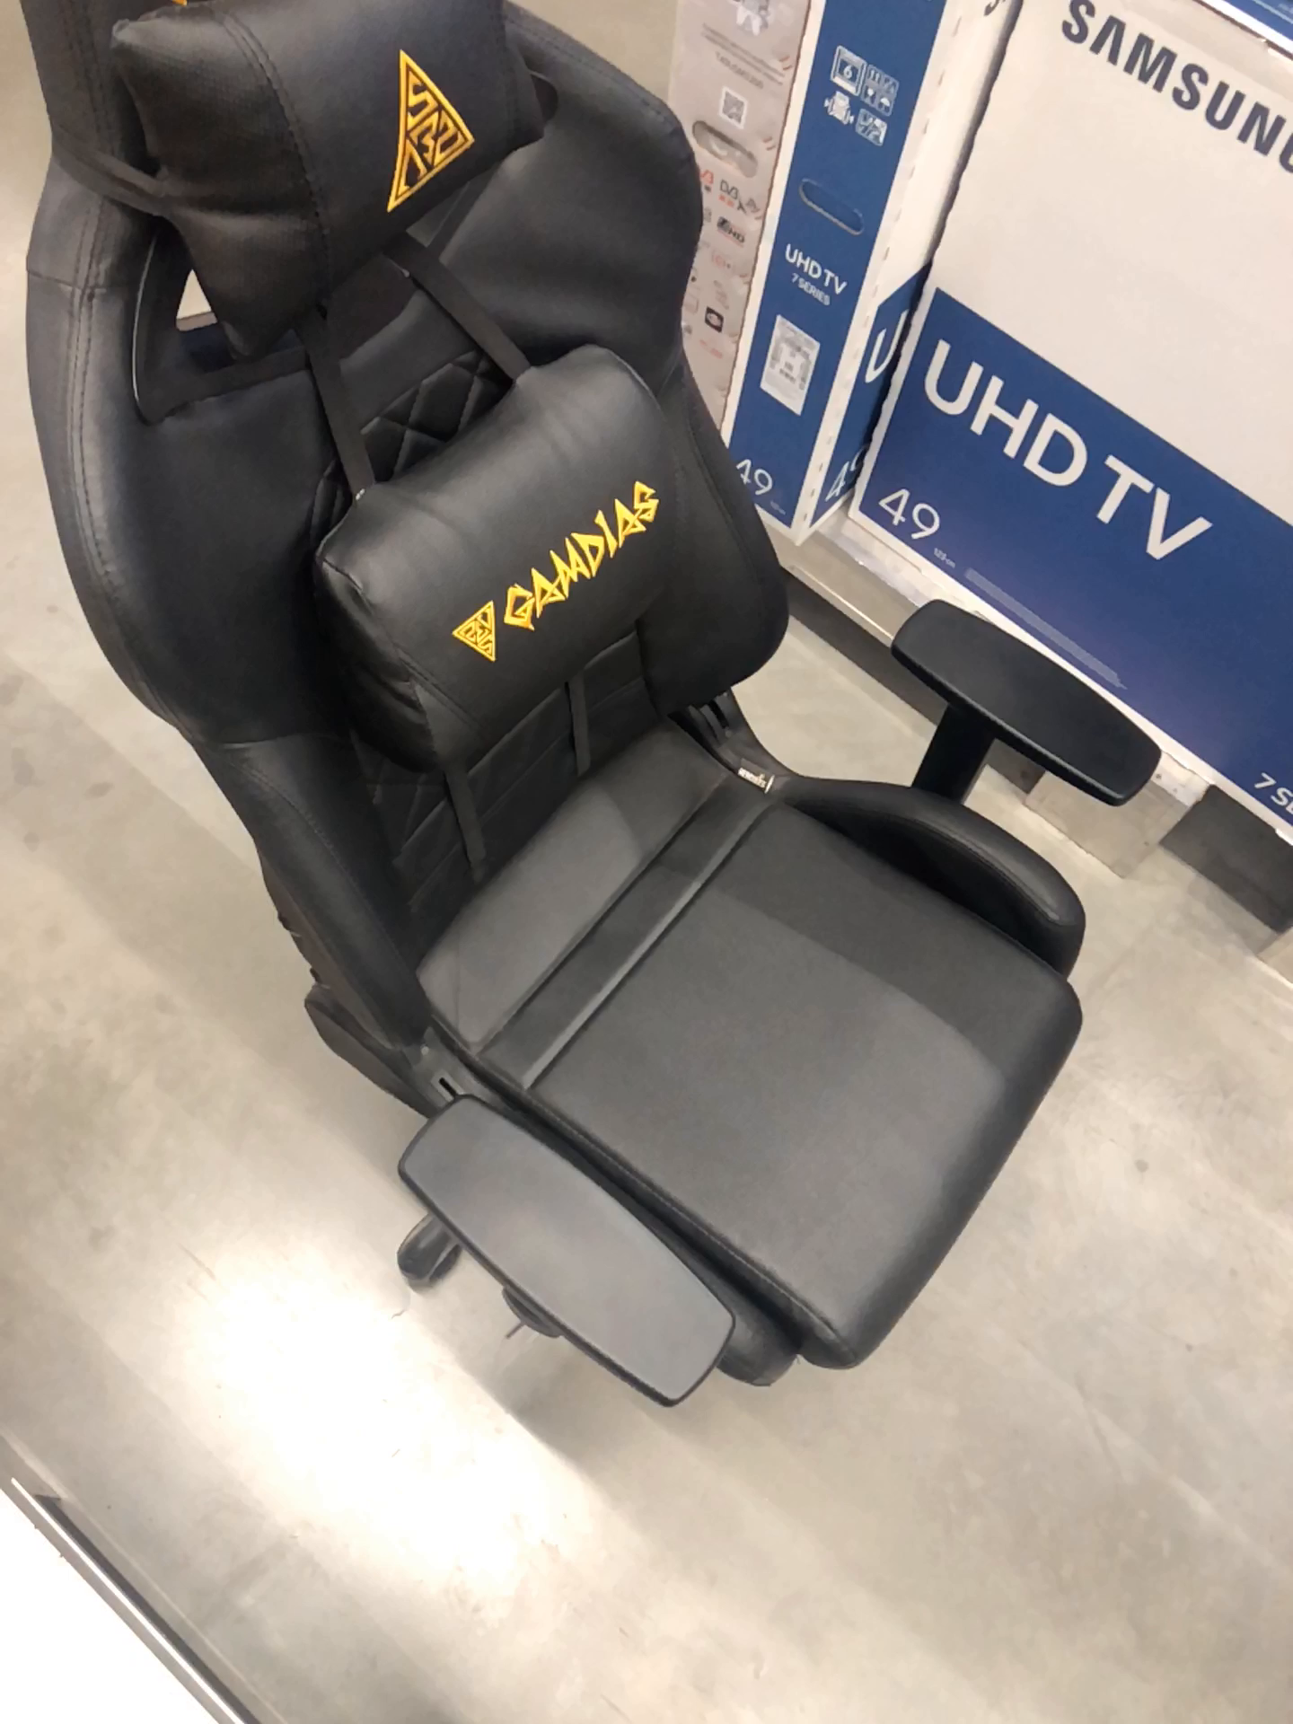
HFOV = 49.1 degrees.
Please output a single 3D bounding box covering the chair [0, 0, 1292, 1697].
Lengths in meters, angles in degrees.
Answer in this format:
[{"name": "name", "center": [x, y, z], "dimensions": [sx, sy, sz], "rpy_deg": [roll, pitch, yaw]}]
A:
[{"name": "chair", "center": [0.027, -0.027, 1.102], "dimensions": [0.781, 1.284, 0.743], "rpy_deg": [37, 66, 11]}]
